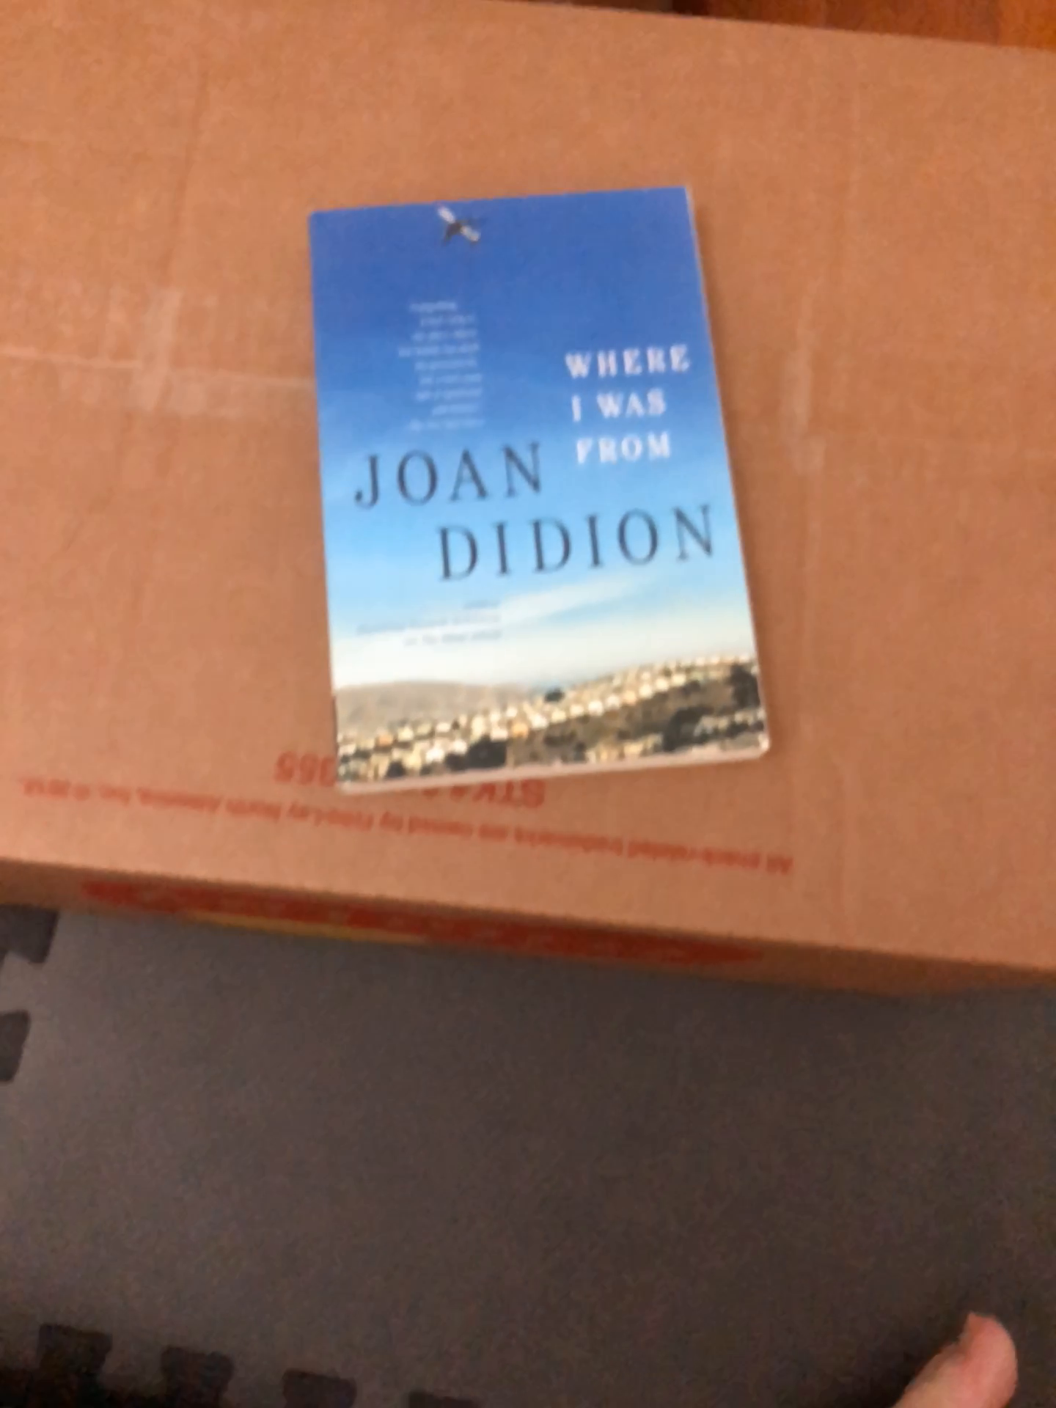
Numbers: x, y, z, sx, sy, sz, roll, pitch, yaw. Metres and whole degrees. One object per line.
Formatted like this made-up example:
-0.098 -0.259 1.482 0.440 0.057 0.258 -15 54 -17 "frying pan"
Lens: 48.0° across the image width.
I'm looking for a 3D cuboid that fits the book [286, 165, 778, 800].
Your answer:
-0.004 -0.079 0.393 0.140 0.020 0.210 -5 74 -2 "book"
